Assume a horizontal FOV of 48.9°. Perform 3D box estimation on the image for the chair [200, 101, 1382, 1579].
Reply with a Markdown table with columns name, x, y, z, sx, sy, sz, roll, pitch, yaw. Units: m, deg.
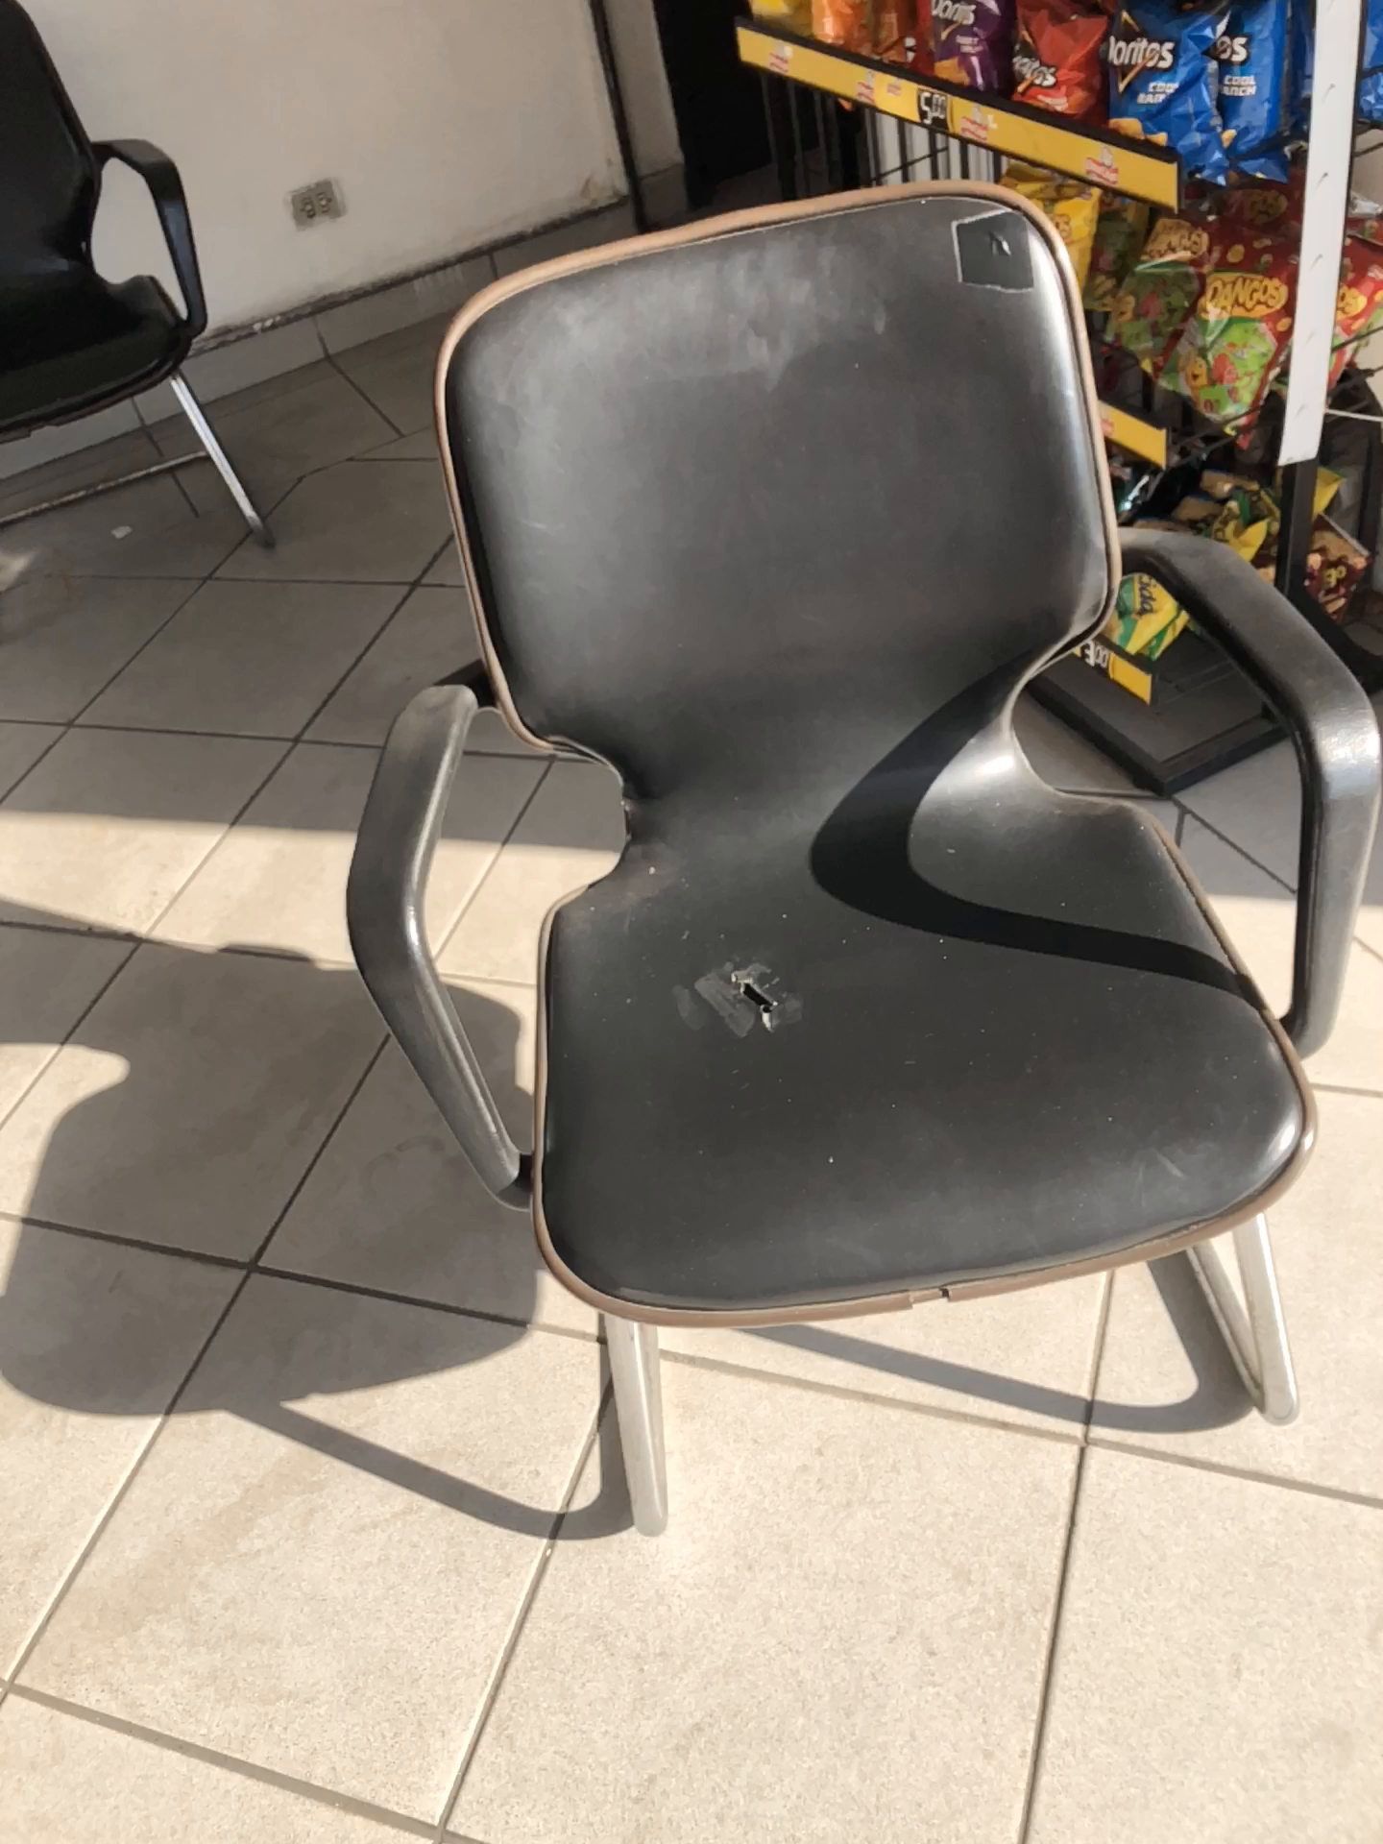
| name | x | y | z | sx | sy | sz | roll | pitch | yaw |
| --- | --- | --- | --- | --- | --- | --- | --- | --- | --- |
| chair | 0.119 | -0.025 | 1.136 | 0.580 | 0.824 | 0.584 | -11 | 42 | 3 |
